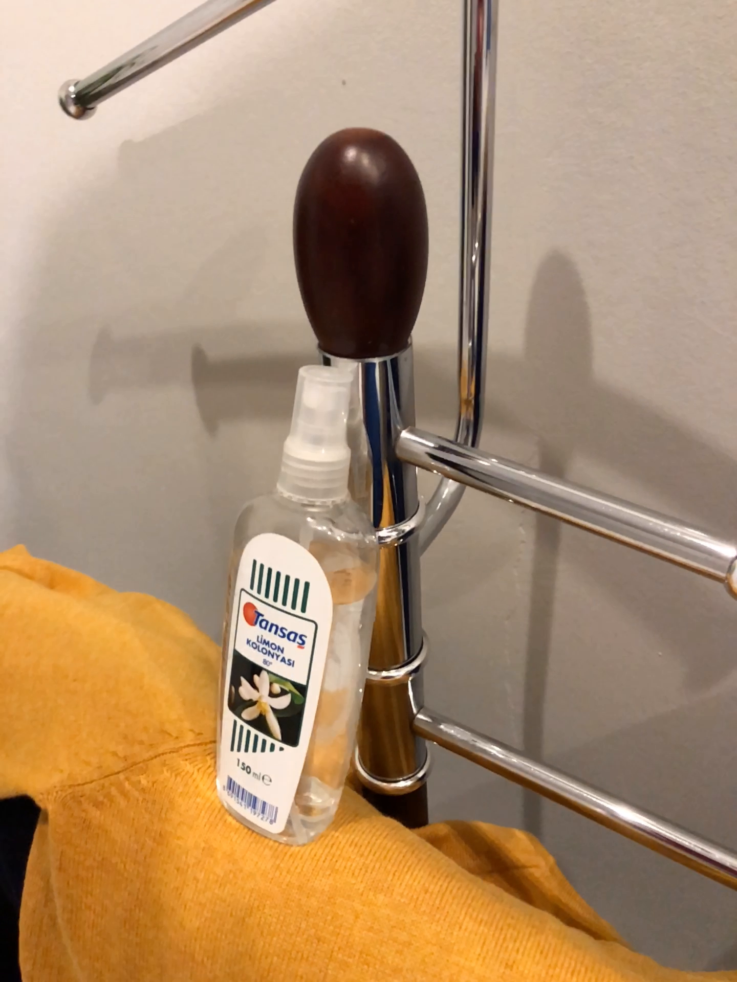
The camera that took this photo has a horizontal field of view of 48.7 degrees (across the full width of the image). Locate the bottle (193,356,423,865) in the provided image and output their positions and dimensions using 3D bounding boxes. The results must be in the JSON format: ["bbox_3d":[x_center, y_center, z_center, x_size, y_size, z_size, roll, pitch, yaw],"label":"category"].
[{"bbox_3d":[-0.024,0.039,0.271,0.051,0.158,0.030,20,21,33],"label":"bottle"}]
